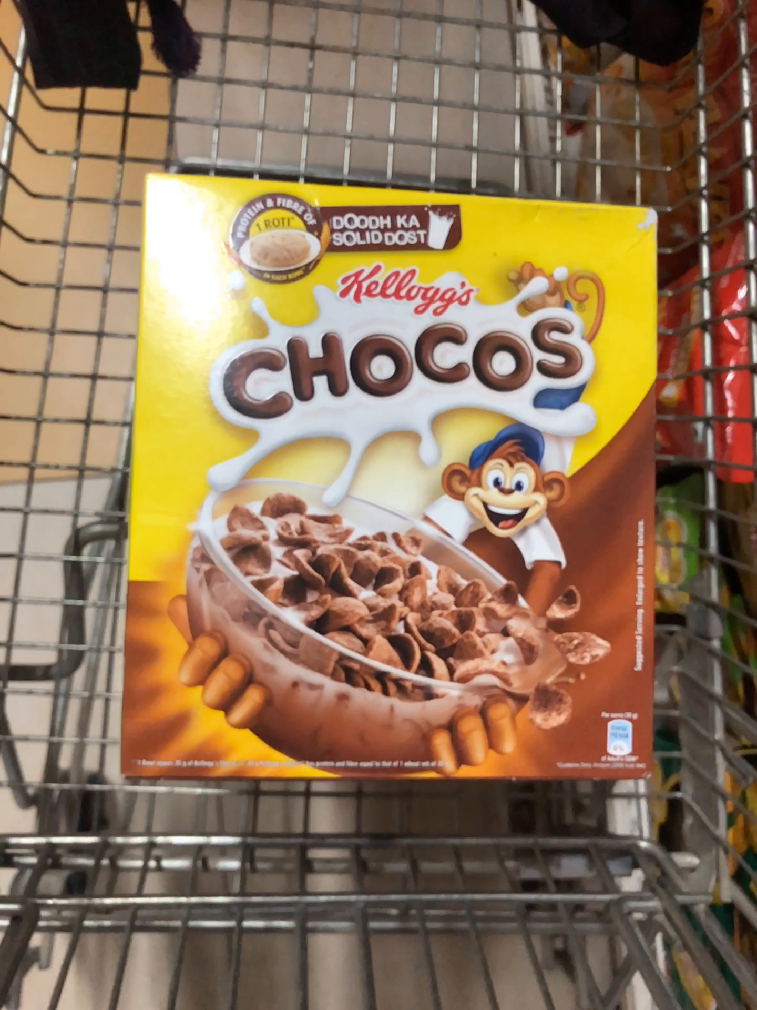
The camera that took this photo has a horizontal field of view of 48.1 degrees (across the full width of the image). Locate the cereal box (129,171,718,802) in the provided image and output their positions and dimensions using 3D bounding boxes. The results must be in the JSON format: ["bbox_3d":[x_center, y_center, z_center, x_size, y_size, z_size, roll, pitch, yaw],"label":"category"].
[{"bbox_3d":[0.015,-0.003,0.299,0.180,0.070,0.190,2,88,-6],"label":"cereal box"}]
